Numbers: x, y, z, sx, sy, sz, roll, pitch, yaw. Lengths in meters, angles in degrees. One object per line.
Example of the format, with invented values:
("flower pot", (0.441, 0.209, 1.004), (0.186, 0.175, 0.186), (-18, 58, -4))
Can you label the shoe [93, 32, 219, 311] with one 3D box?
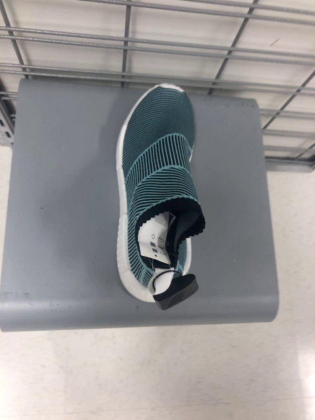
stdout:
("shoe", (-0.007, -0.036, 0.429), (0.120, 0.130, 0.300), (4, 75, -9))
